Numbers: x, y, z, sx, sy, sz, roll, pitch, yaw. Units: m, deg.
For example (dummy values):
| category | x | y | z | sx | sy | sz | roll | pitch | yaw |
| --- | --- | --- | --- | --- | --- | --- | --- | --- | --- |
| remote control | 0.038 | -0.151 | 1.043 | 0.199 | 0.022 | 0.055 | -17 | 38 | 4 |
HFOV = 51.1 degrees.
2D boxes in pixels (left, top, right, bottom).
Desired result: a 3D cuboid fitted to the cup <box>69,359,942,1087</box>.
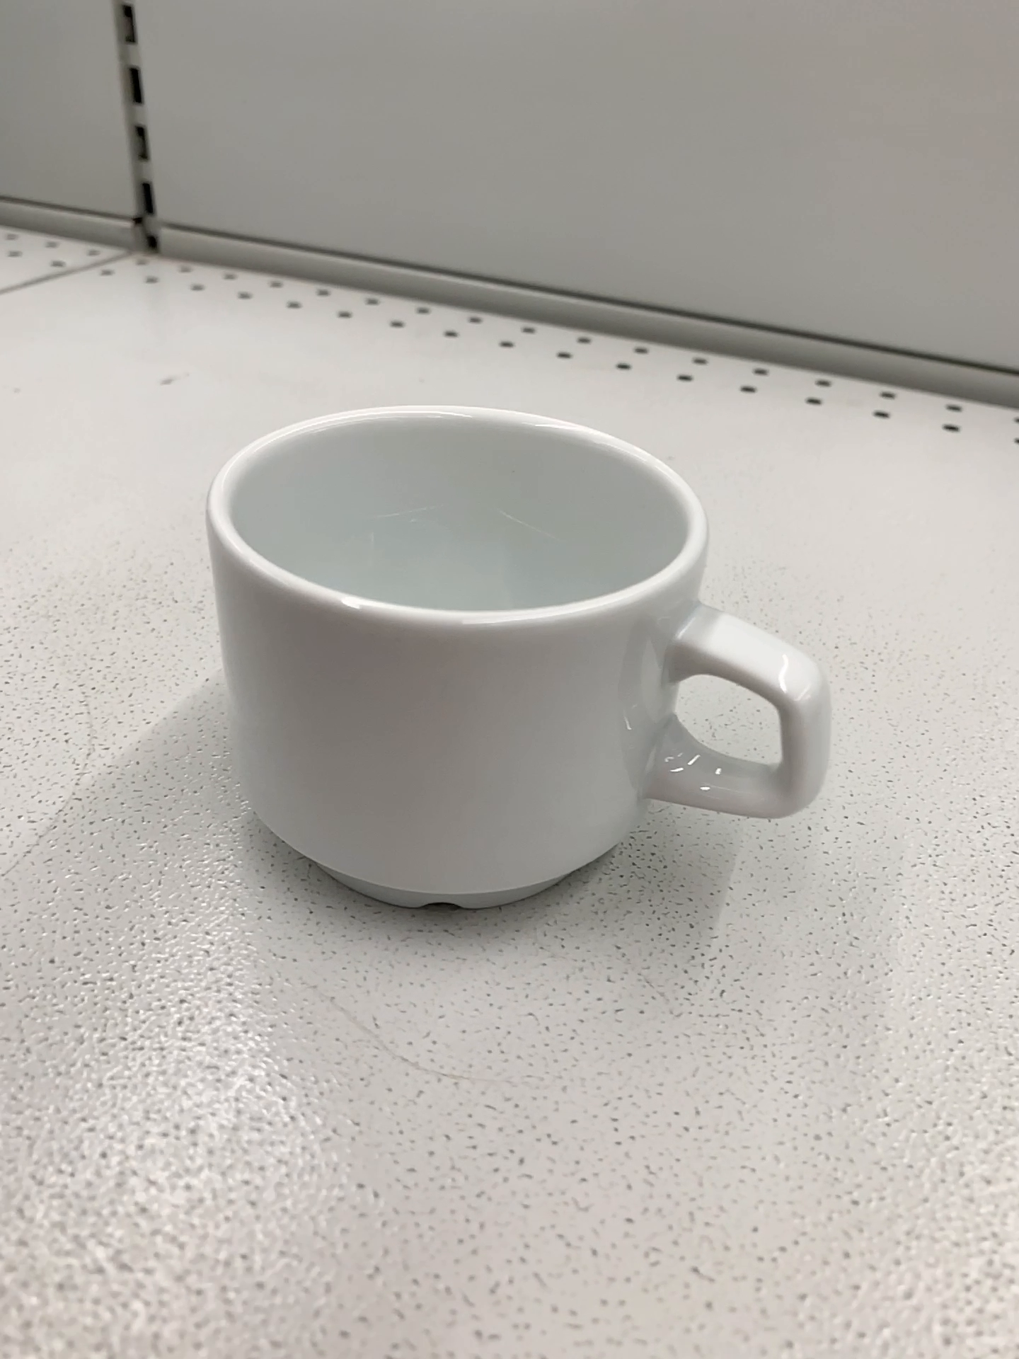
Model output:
| category | x | y | z | sx | sy | sz | roll | pitch | yaw |
| --- | --- | --- | --- | --- | --- | --- | --- | --- | --- |
| cup | 0.004 | -0.004 | 0.174 | 0.105 | 0.056 | 0.082 | 17 | 36 | 19 |
